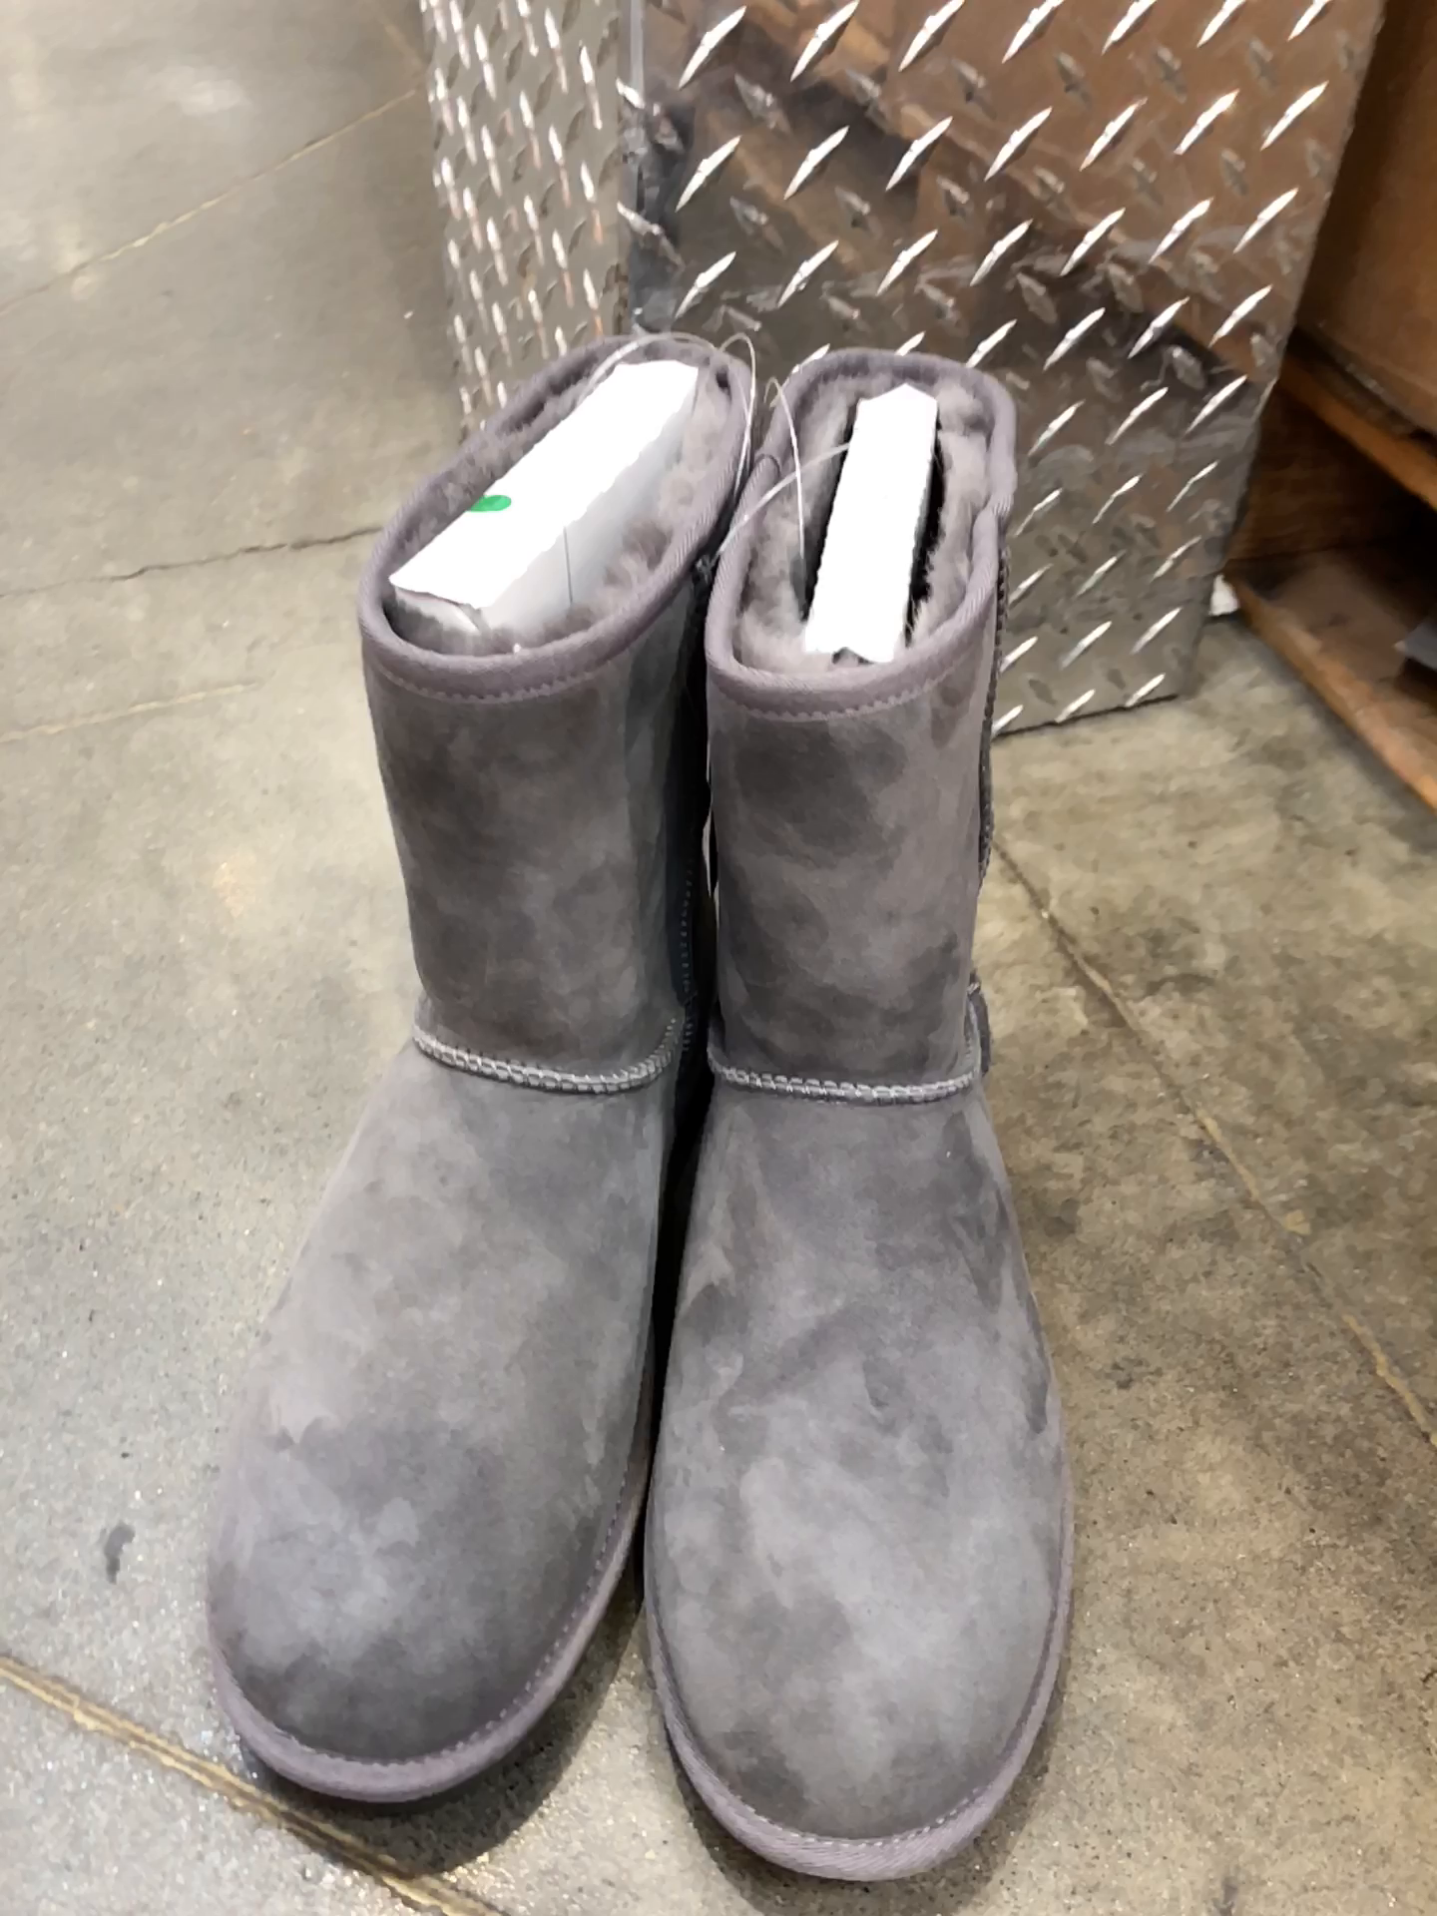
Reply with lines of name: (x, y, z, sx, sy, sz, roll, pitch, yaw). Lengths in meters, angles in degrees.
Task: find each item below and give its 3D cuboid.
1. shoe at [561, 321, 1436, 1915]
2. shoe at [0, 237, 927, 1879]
shoe: (0.041, 0.033, 0.362, 0.110, 0.239, 0.271, 4, 44, 1)
shoe: (-0.045, 0.012, 0.374, 0.120, 0.239, 0.281, 11, 45, 8)
